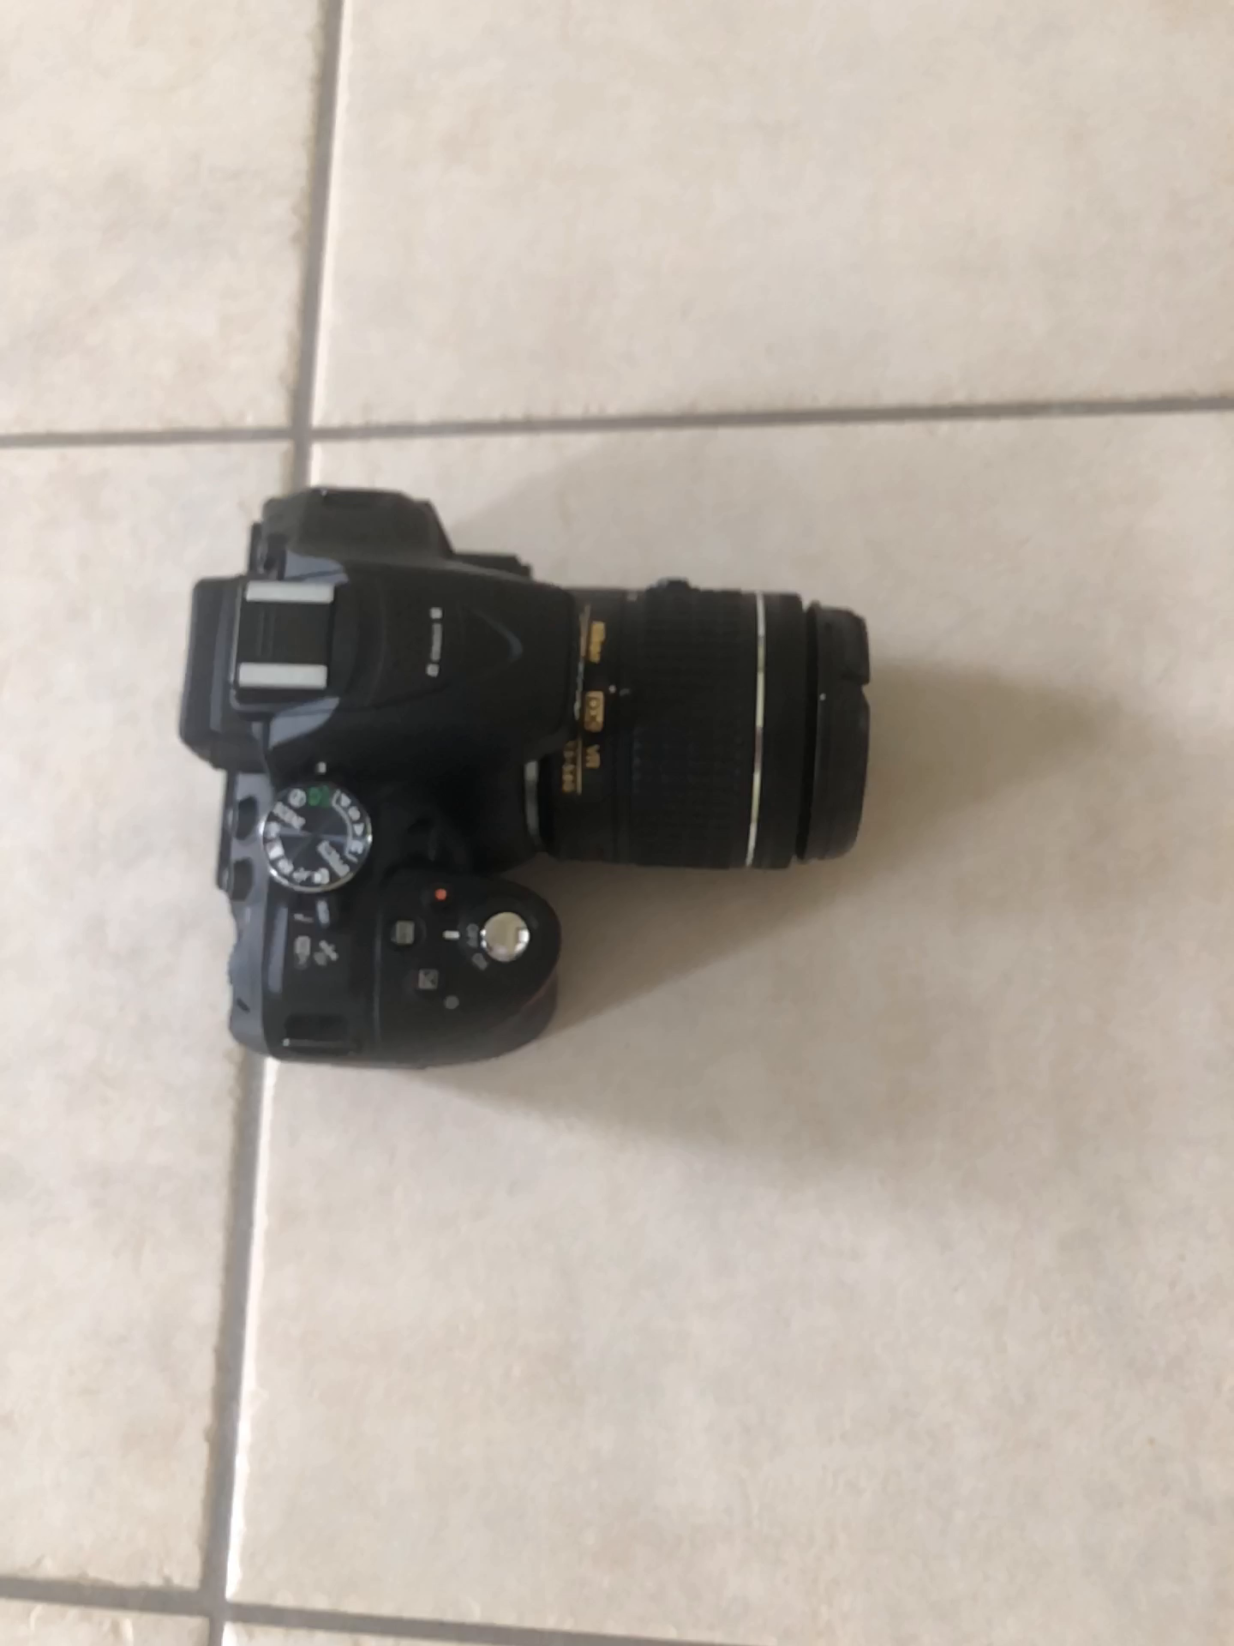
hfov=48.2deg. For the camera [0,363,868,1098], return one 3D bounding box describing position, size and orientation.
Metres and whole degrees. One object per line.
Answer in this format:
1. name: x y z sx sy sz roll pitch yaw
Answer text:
1. camera: -0.030 -0.015 0.308 0.160 0.090 0.140 2 80 5
